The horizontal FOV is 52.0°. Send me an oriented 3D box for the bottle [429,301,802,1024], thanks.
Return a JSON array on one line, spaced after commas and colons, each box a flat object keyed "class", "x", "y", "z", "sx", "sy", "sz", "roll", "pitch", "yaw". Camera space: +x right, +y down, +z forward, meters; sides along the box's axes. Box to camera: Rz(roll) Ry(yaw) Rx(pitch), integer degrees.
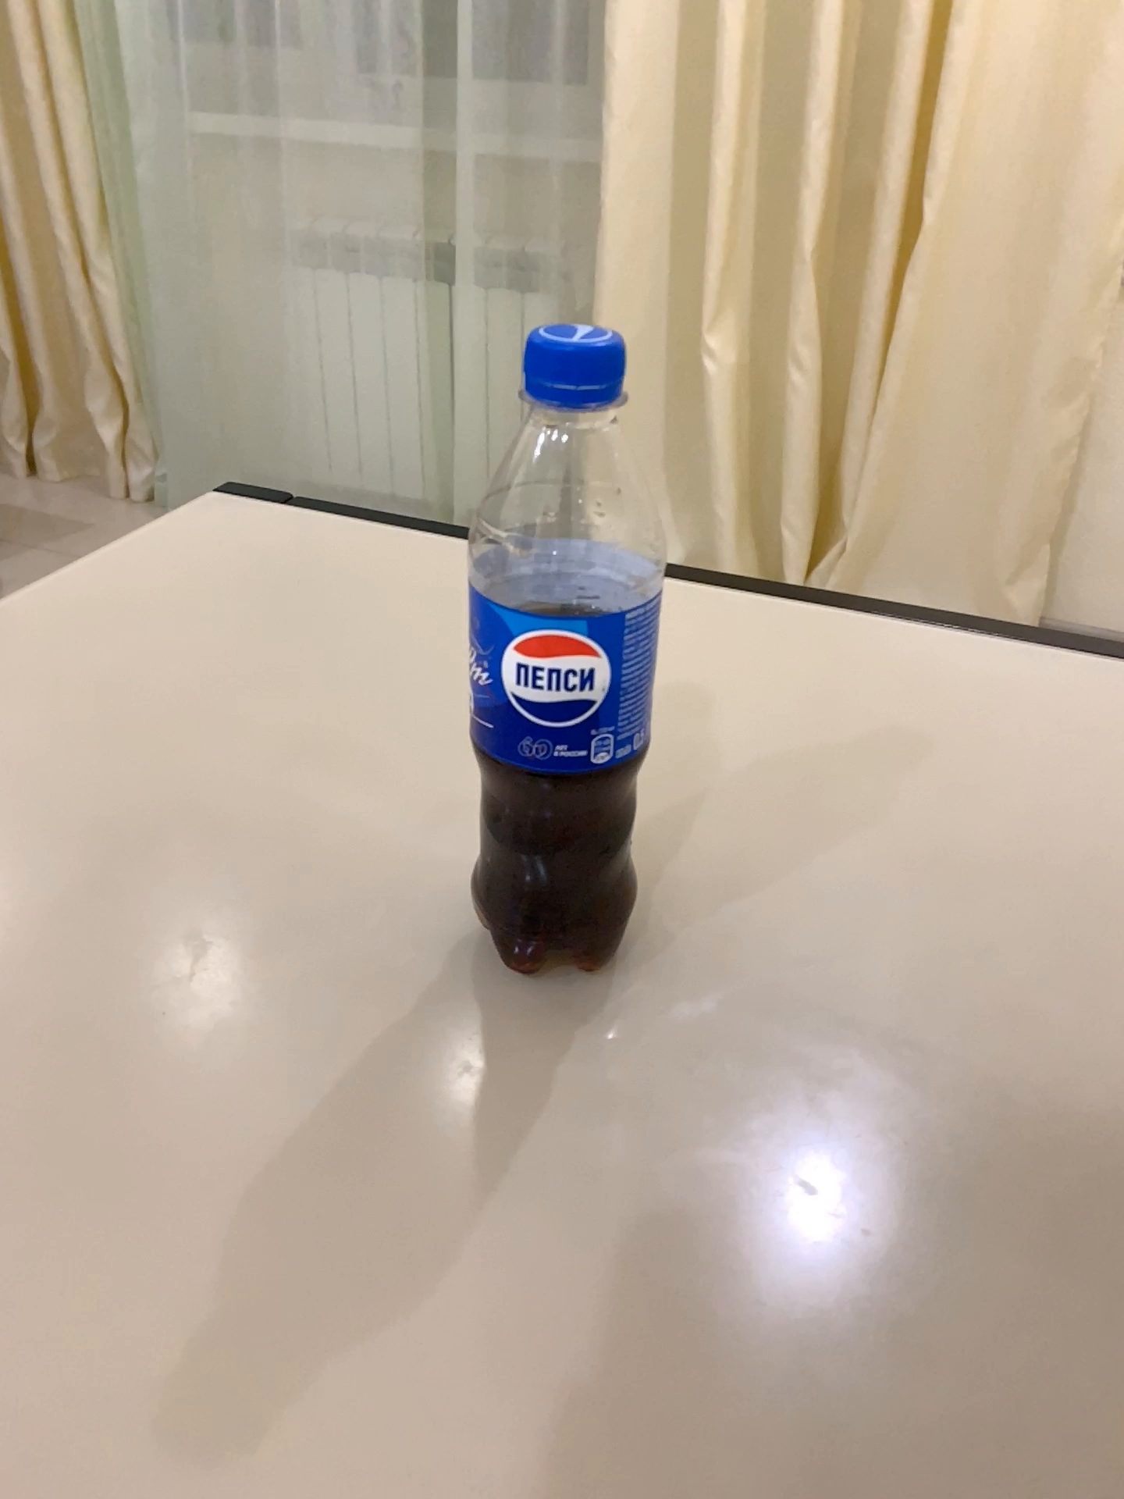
[{"class": "bottle", "x": 0.012, "y": -0.027, "z": 0.407, "sx": 0.080, "sy": 0.229, "sz": 0.080, "roll": 1, "pitch": 32, "yaw": -1}]
